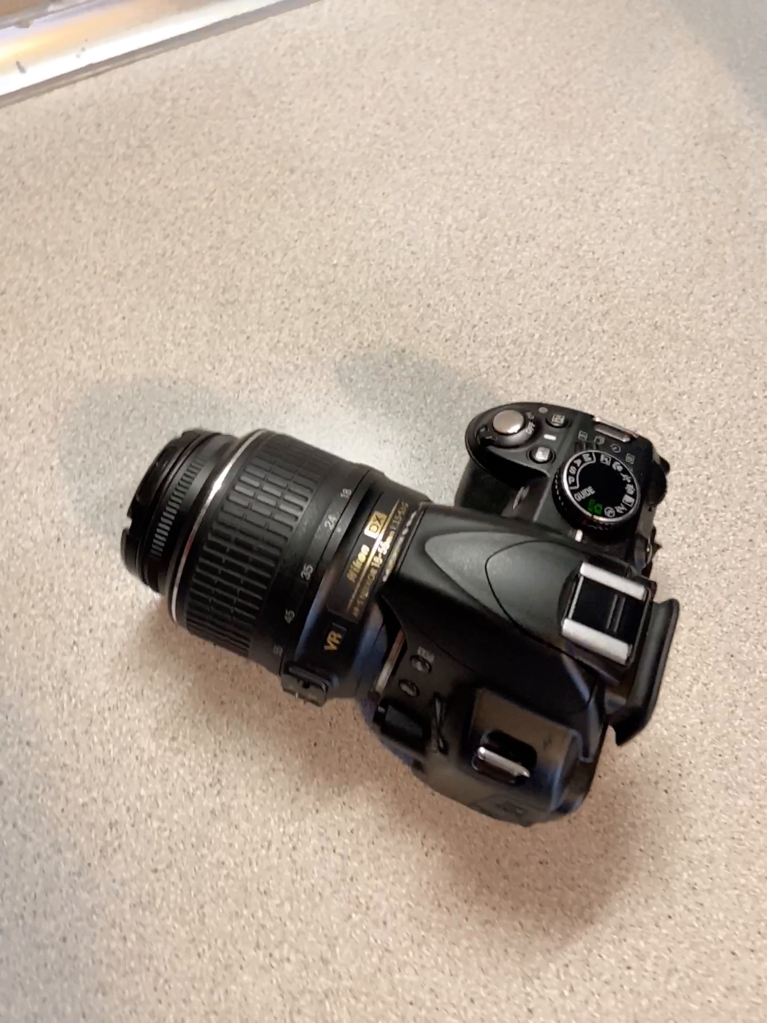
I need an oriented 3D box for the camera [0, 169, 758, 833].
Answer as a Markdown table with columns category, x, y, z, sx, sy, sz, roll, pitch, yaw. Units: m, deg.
| category | x | y | z | sx | sy | sz | roll | pitch | yaw |
| --- | --- | --- | --- | --- | --- | --- | --- | --- | --- |
| camera | -0.003 | 0.001 | 0.247 | 0.177 | 0.092 | 0.122 | 23 | 66 | 4 |
